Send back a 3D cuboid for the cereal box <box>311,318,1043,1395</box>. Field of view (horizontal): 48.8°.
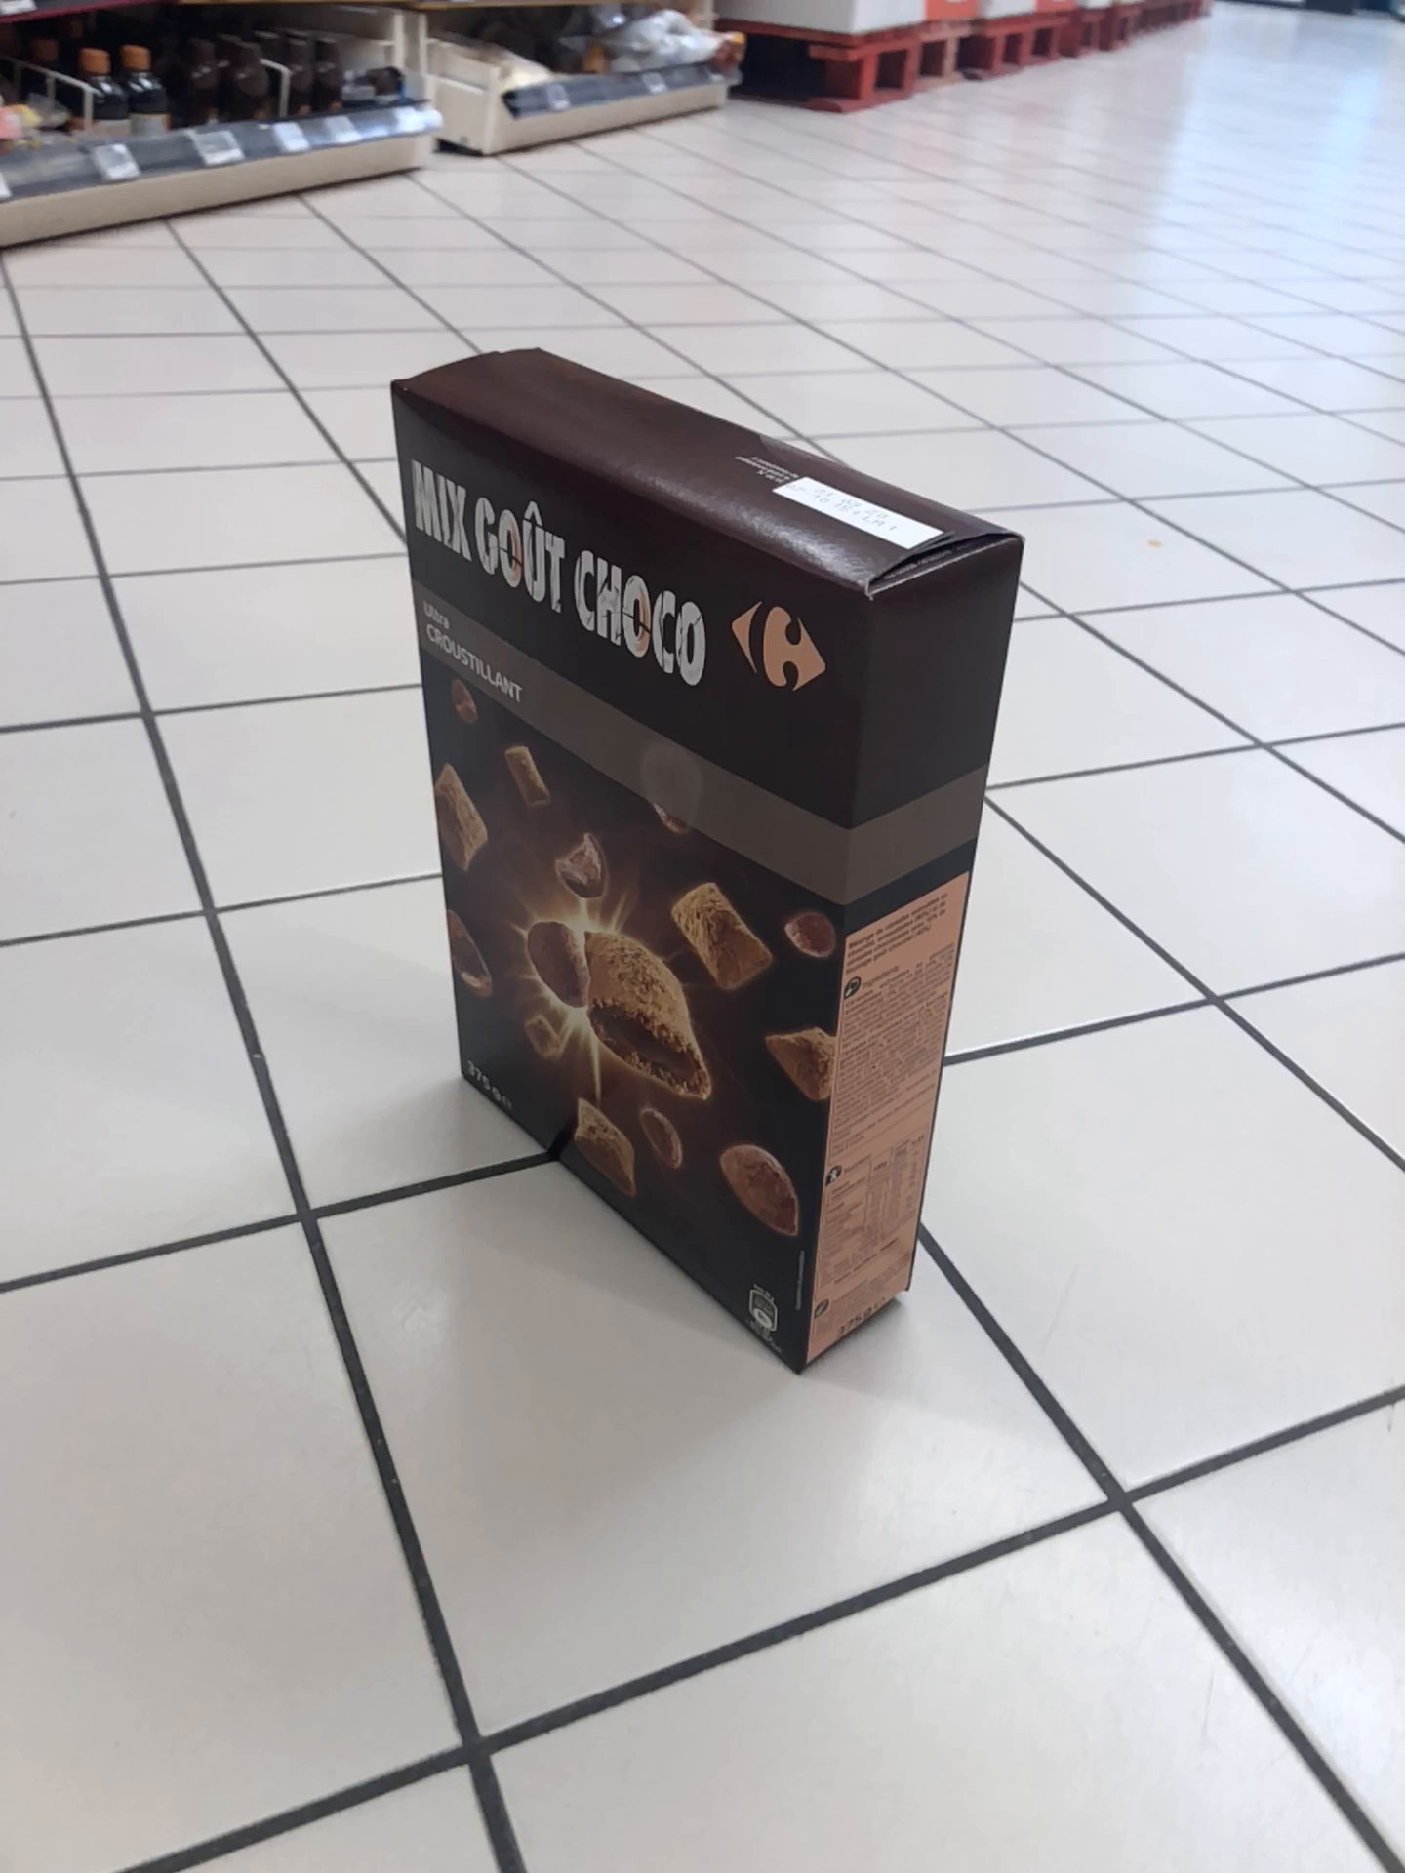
[{"bbox_3d":[-0.020,-0.026,0.486,0.080,0.268,0.200,-27,45,-35],"label":"cereal box"}]
